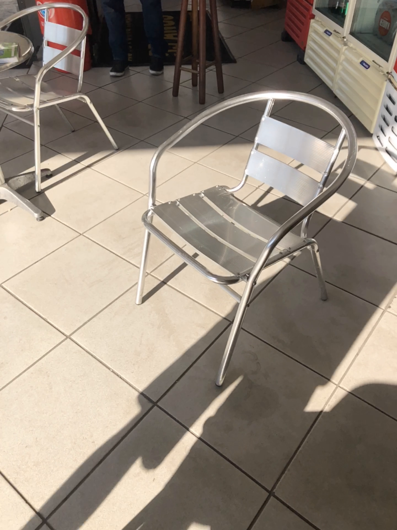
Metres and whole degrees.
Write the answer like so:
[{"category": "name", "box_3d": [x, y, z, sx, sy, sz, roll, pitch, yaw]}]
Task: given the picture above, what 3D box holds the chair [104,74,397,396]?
[{"category": "chair", "box_3d": [0.146, -0.125, 1.428, 0.632, 0.705, 0.522, -29, 49, -29]}]
